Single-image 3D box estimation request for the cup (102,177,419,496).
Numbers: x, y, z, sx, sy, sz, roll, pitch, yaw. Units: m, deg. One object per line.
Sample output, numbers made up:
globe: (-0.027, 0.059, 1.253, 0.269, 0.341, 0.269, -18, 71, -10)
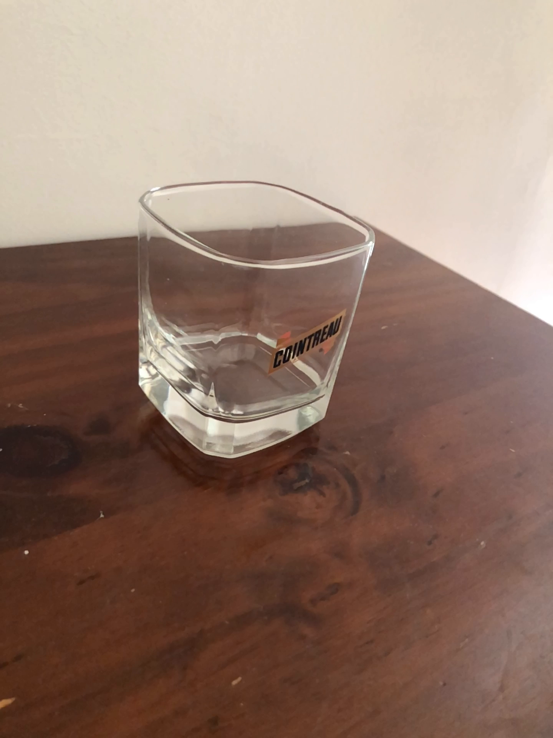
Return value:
cup: (-0.012, -0.020, 0.249, 0.087, 0.085, 0.080, 8, 32, -5)
